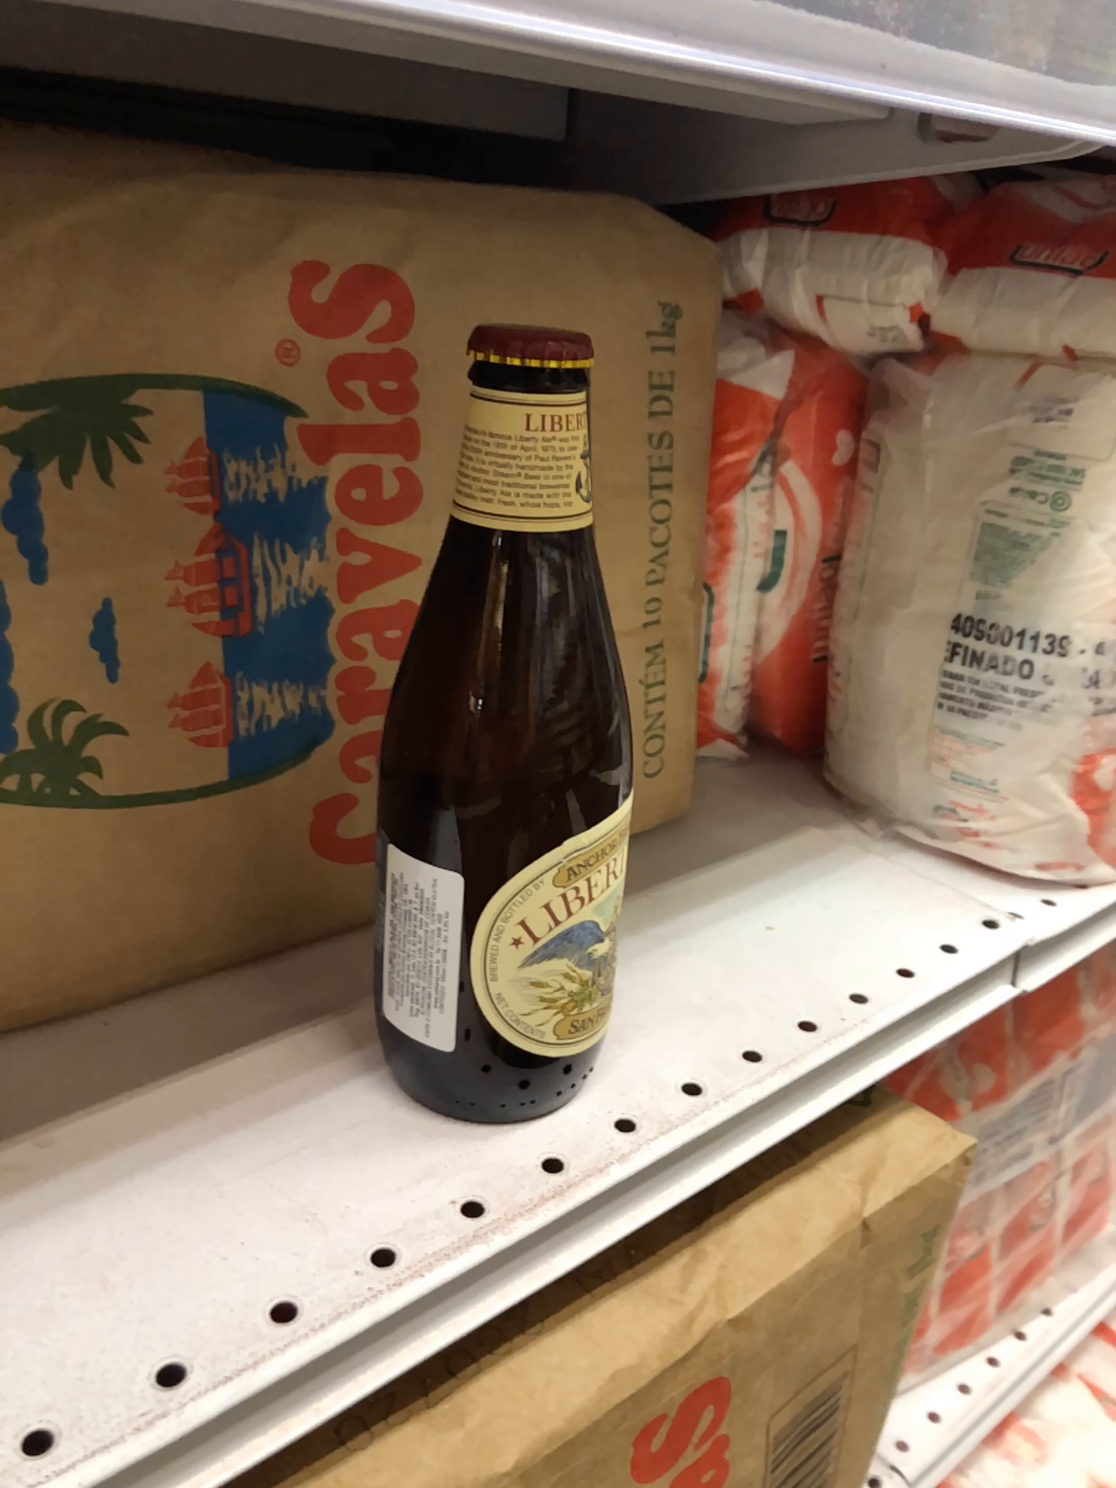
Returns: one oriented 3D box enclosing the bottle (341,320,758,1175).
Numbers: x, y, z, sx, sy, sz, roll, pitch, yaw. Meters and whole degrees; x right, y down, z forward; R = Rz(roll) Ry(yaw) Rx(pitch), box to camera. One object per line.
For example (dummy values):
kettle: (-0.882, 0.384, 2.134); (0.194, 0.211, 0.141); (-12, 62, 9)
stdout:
bottle: (-0.005, -0.002, 0.309); (0.070, 0.189, 0.070); (3, 21, -1)
